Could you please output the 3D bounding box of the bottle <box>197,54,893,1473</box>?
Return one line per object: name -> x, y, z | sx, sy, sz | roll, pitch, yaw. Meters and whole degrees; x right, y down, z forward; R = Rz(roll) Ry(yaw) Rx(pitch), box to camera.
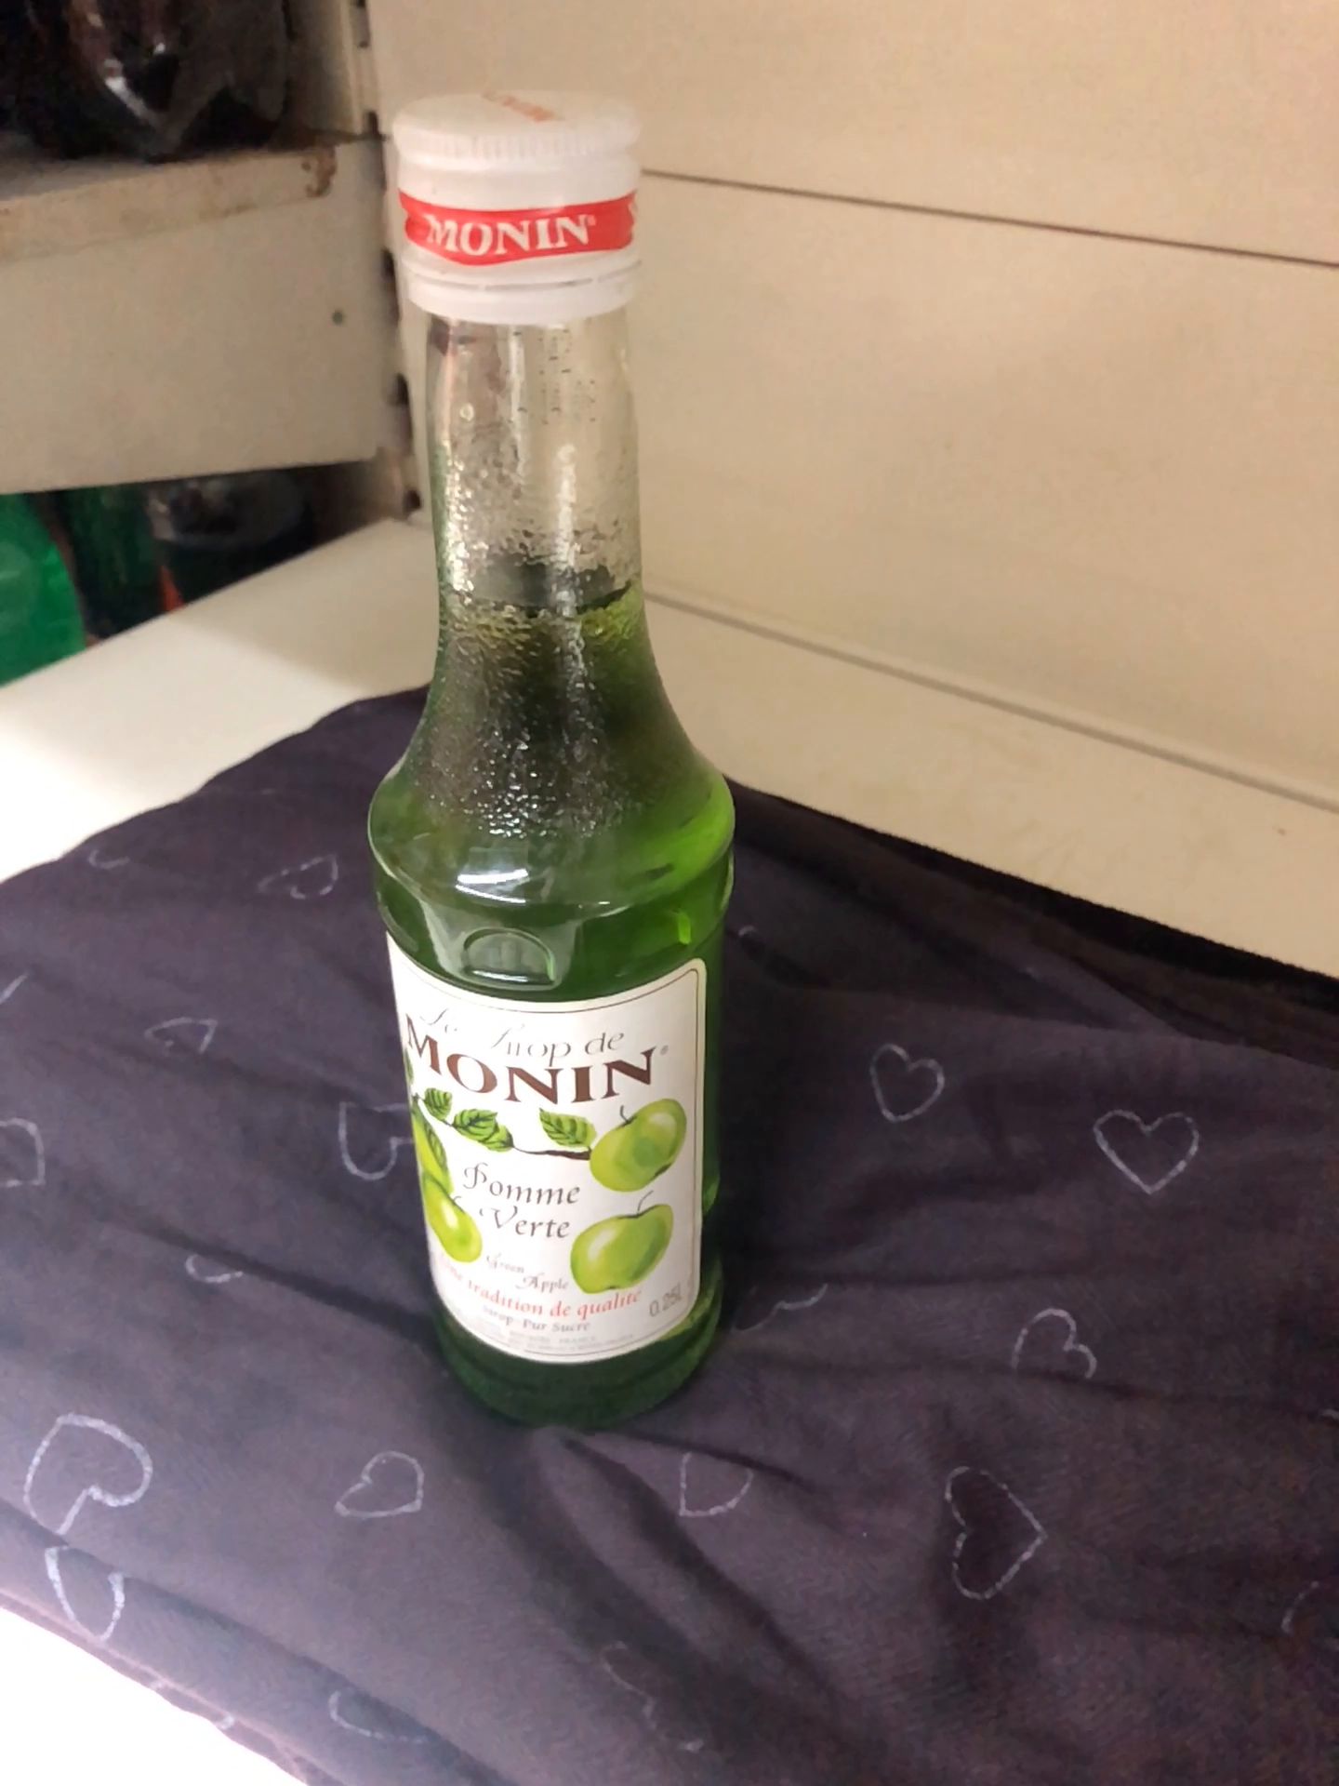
bottle -> -0.012, -0.008, 0.224 | 0.060, 0.199, 0.060 | 1, 34, 0
